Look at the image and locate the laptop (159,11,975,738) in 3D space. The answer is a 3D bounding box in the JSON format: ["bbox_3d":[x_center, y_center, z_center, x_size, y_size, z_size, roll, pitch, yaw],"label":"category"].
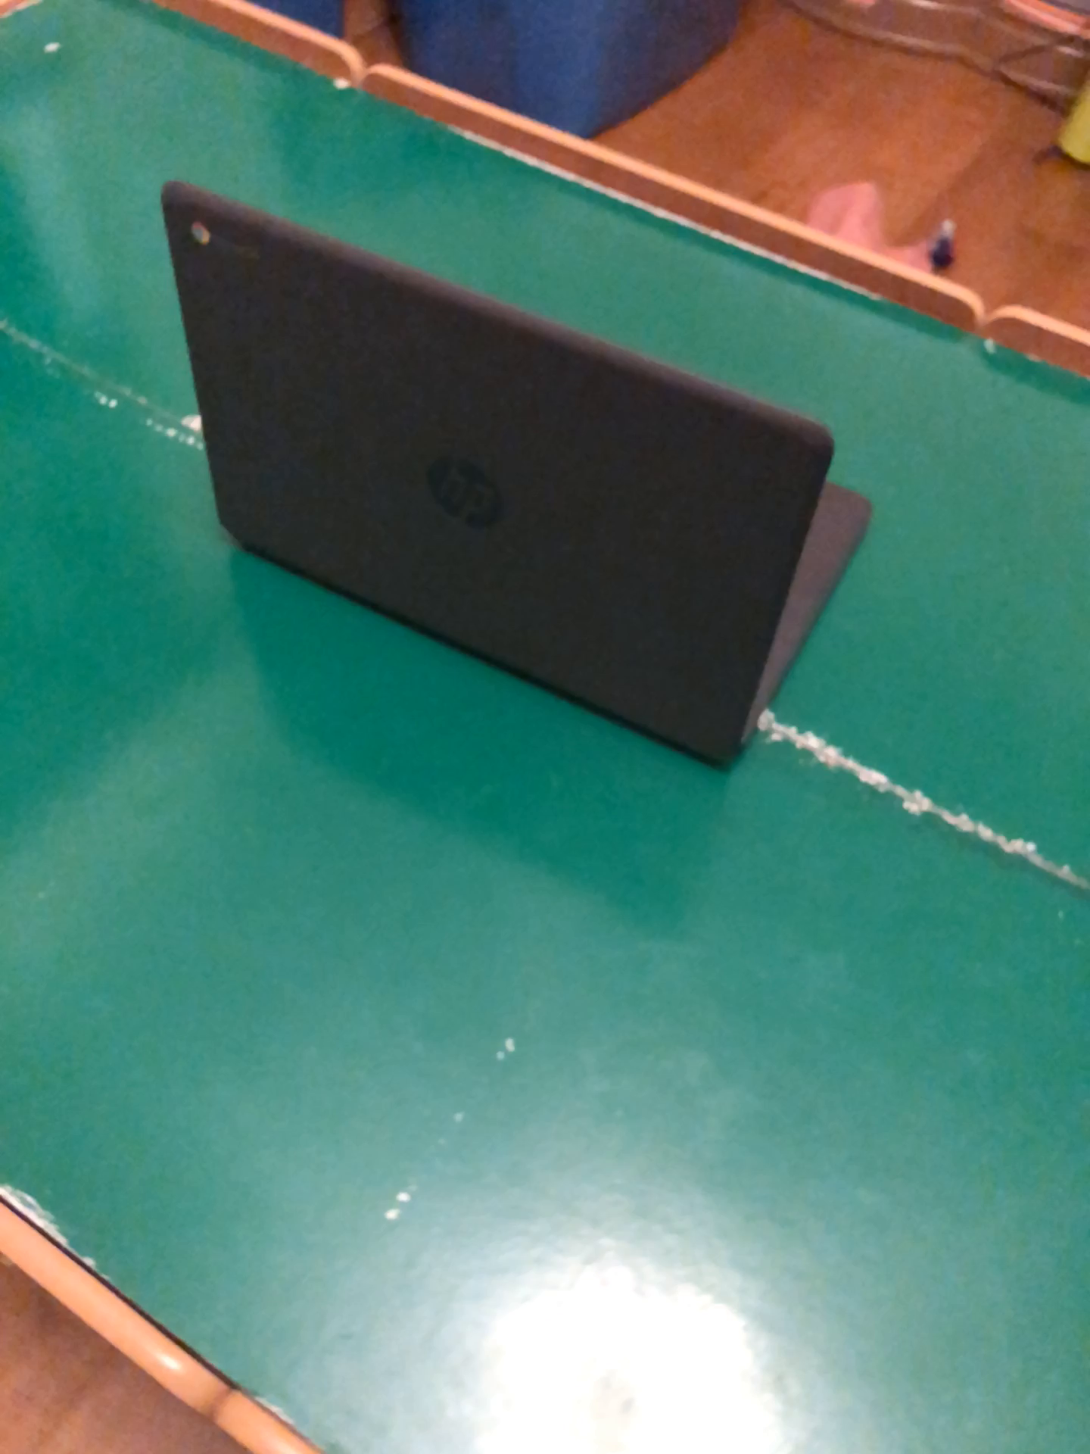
[{"bbox_3d":[0.013,-0.191,0.642,0.317,0.204,0.211,25,56,13],"label":"laptop"}]
